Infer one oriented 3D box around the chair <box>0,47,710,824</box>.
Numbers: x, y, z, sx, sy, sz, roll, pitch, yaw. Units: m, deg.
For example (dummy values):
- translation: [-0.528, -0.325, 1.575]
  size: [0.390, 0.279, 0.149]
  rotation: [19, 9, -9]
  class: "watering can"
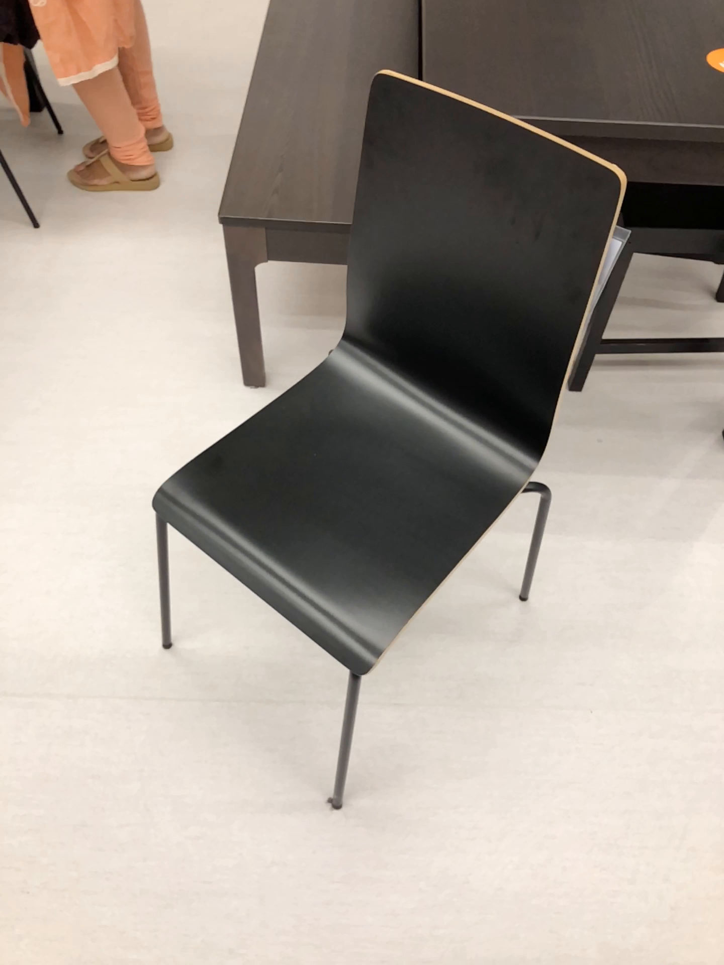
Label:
- translation: [-0.010, -0.006, 1.078]
  size: [0.451, 0.806, 0.532]
  rotation: [36, 60, 22]
  class: "chair"
